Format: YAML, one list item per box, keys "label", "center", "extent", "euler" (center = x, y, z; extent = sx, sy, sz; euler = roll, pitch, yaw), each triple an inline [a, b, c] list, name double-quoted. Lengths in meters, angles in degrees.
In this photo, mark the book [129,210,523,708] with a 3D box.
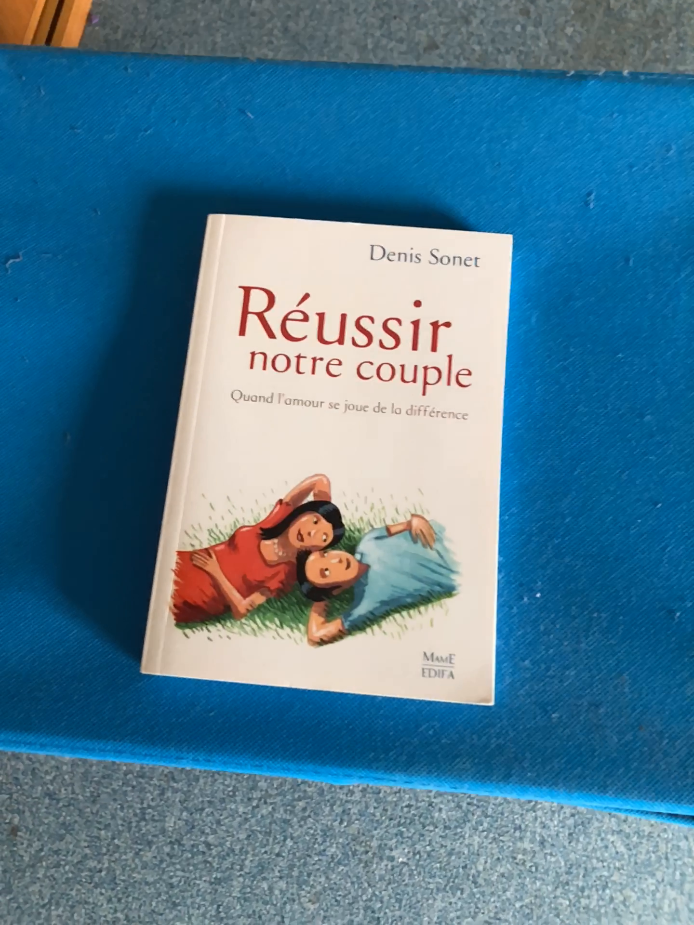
- label: "book"
  center: [-0.003, -0.007, 0.302]
  extent: [0.134, 0.016, 0.186]
  euler: [5, 78, 2]
